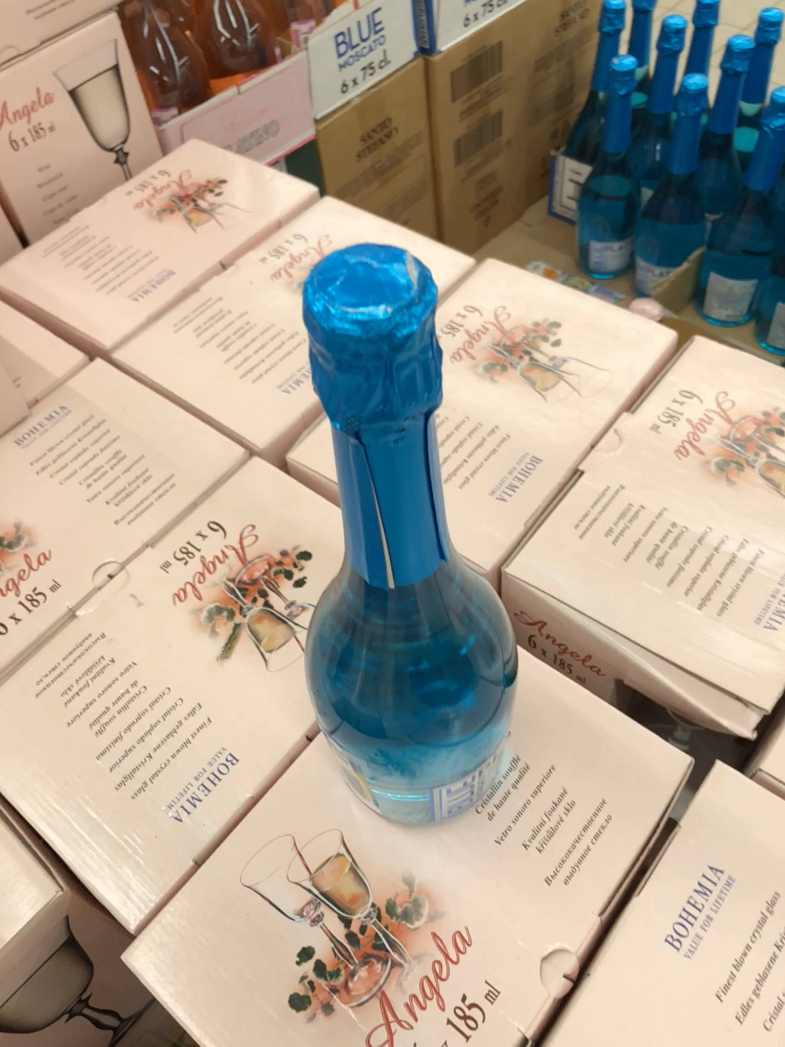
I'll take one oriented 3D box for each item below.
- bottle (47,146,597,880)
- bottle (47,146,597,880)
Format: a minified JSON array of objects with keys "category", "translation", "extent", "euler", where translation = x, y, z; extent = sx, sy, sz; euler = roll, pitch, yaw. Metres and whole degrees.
[{"category":"bottle","translation":[-0.002,0.026,0.322],"extent":[0.100,0.279,0.100],"euler":[-3,53,4]},{"category":"bottle","translation":[-0.002,0.026,0.322],"extent":[0.100,0.279,0.100],"euler":[-3,53,4]}]
